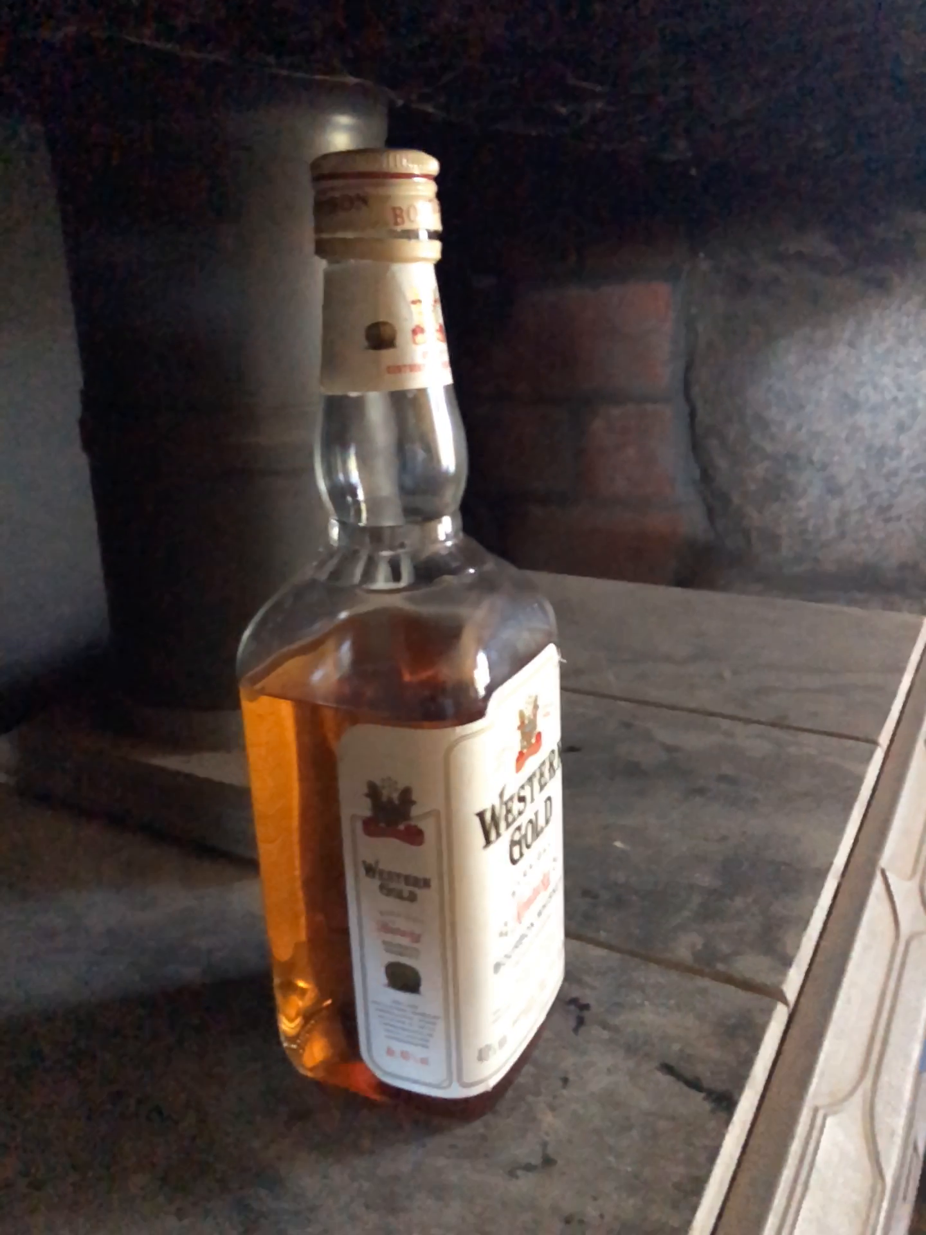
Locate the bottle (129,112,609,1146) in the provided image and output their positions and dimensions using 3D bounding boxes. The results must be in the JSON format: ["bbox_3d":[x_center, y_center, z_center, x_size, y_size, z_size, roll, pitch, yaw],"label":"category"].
[{"bbox_3d":[-0.012,0.004,0.287,0.080,0.249,0.091,7,21,26],"label":"bottle"}]
